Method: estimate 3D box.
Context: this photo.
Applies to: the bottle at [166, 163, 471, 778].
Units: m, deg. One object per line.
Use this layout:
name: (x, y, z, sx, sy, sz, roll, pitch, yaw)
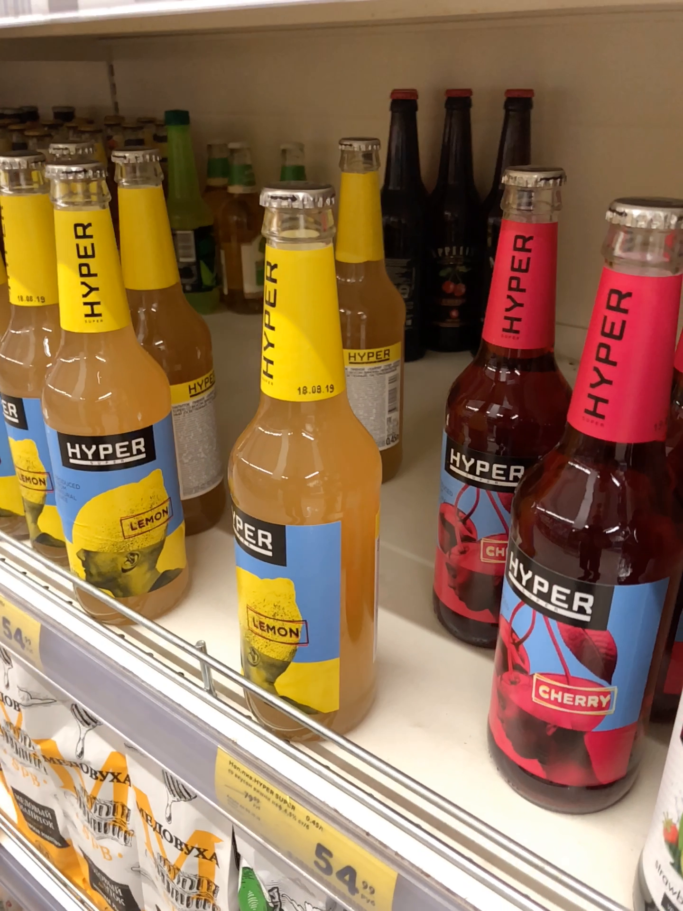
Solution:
bottle: (-0.010, 0.007, 0.325, 0.080, 0.239, 0.080, 0, 26, 0)
